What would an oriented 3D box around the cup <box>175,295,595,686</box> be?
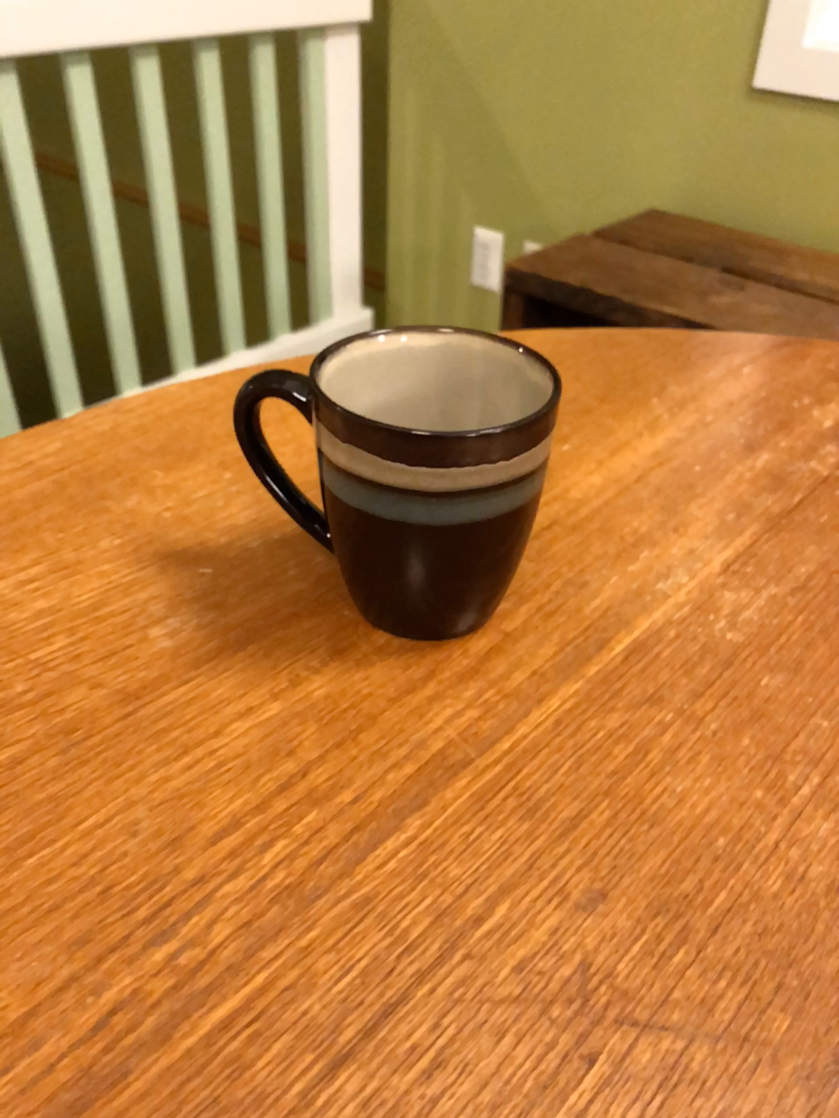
[{"bbox_3d":[-0.010,-0.034,0.372,0.125,0.094,0.099,15,38,18],"label":"cup"}]
